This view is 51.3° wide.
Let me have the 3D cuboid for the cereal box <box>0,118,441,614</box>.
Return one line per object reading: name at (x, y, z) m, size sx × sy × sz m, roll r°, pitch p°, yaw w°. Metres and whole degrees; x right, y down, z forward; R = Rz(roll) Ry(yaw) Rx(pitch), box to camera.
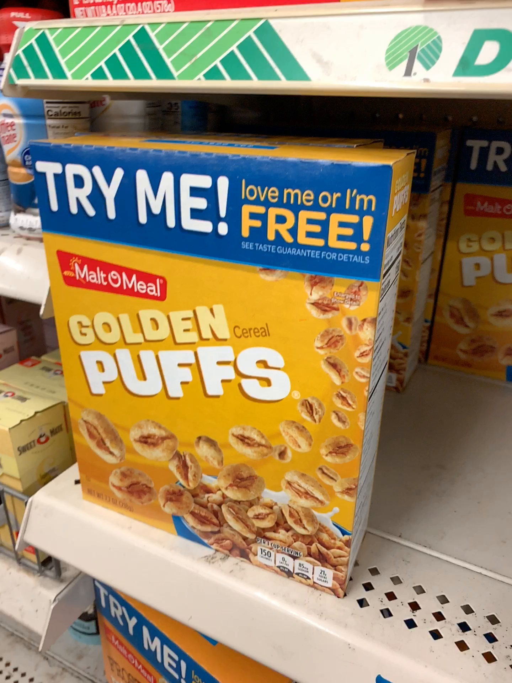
cereal box at (-0.023, 0.006, 0.279) m, size 0.190 × 0.219 × 0.060 m, roll 12°, pitch 27°, yaw 22°
